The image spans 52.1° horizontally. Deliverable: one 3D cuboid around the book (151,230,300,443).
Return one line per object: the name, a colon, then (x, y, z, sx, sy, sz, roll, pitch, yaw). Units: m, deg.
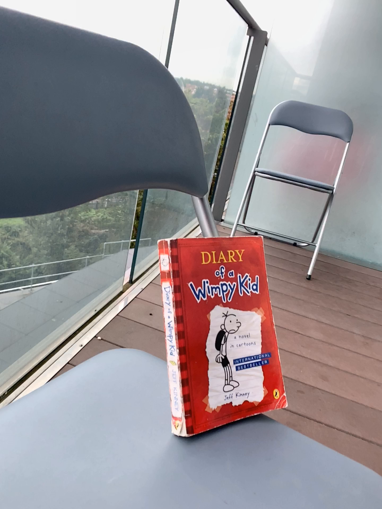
book: (0.041, 0.075, 0.429, 0.150, 0.200, 0.040, -2, -6, -31)
